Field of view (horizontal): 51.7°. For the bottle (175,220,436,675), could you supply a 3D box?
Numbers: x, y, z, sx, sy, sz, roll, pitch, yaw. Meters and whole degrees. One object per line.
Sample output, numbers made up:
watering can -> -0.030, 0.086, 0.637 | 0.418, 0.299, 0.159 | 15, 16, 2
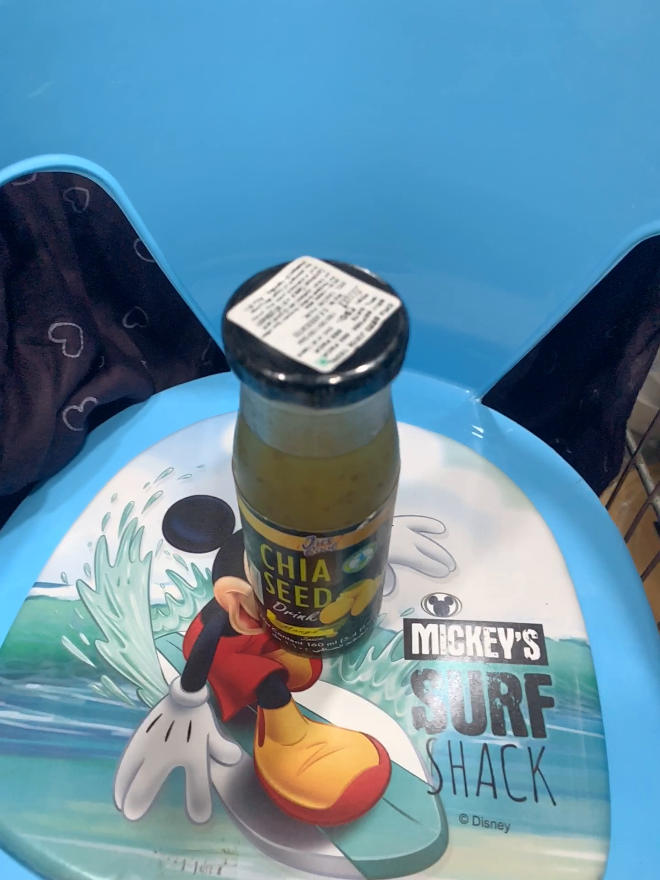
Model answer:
bottle -> -0.003, 0.013, 0.207 | 0.050, 0.140, 0.050 | 0, 47, 0
